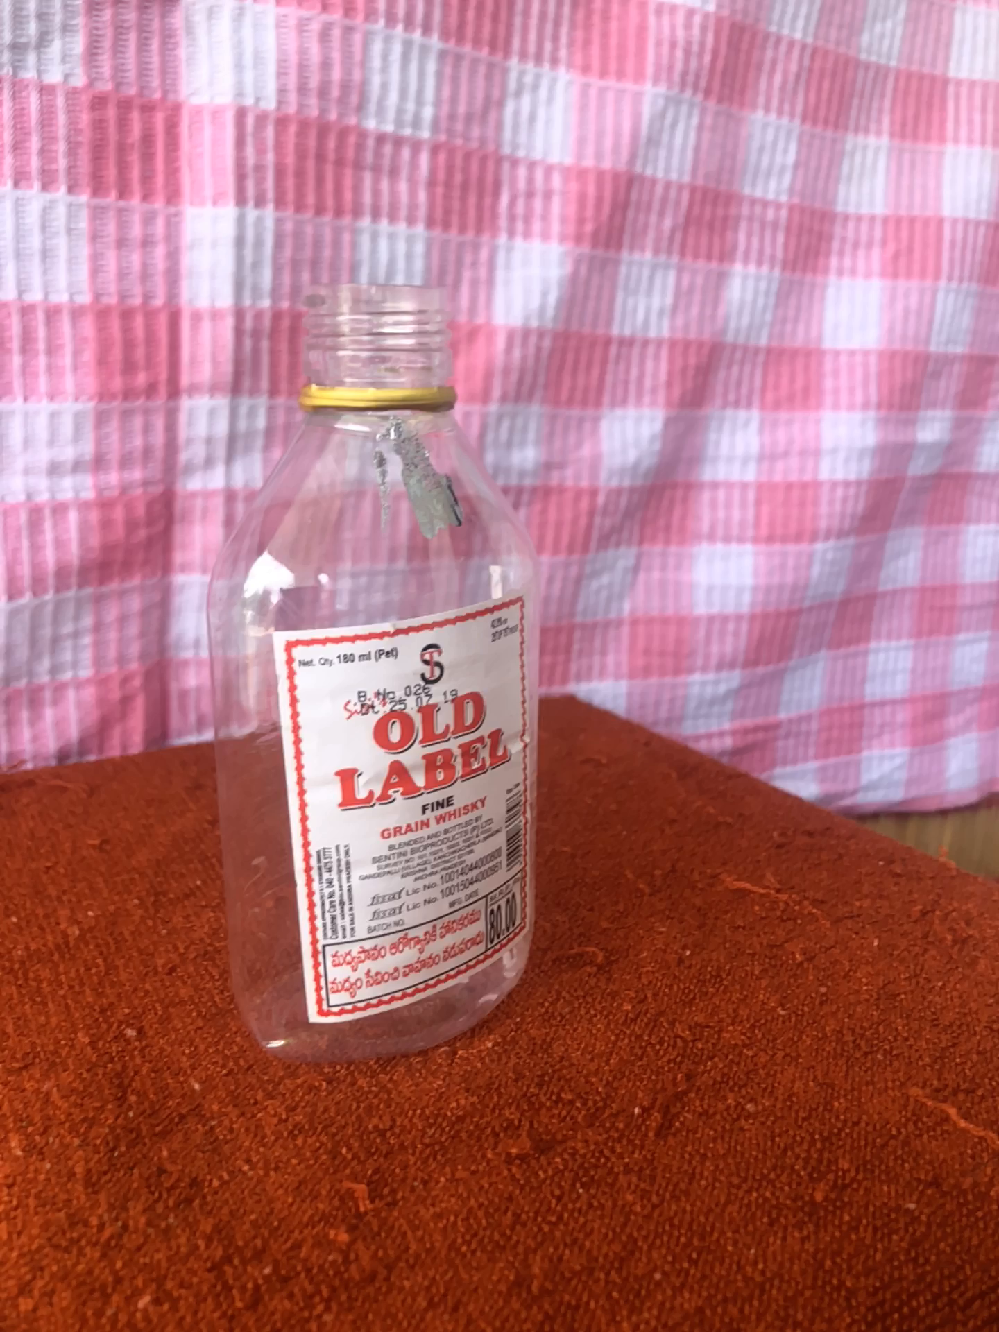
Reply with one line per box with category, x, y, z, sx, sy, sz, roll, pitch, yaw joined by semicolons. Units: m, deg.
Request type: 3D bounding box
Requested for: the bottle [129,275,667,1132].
bottle;-0.020;0.002;0.199;0.070;0.129;0.050;-8;22;-31
